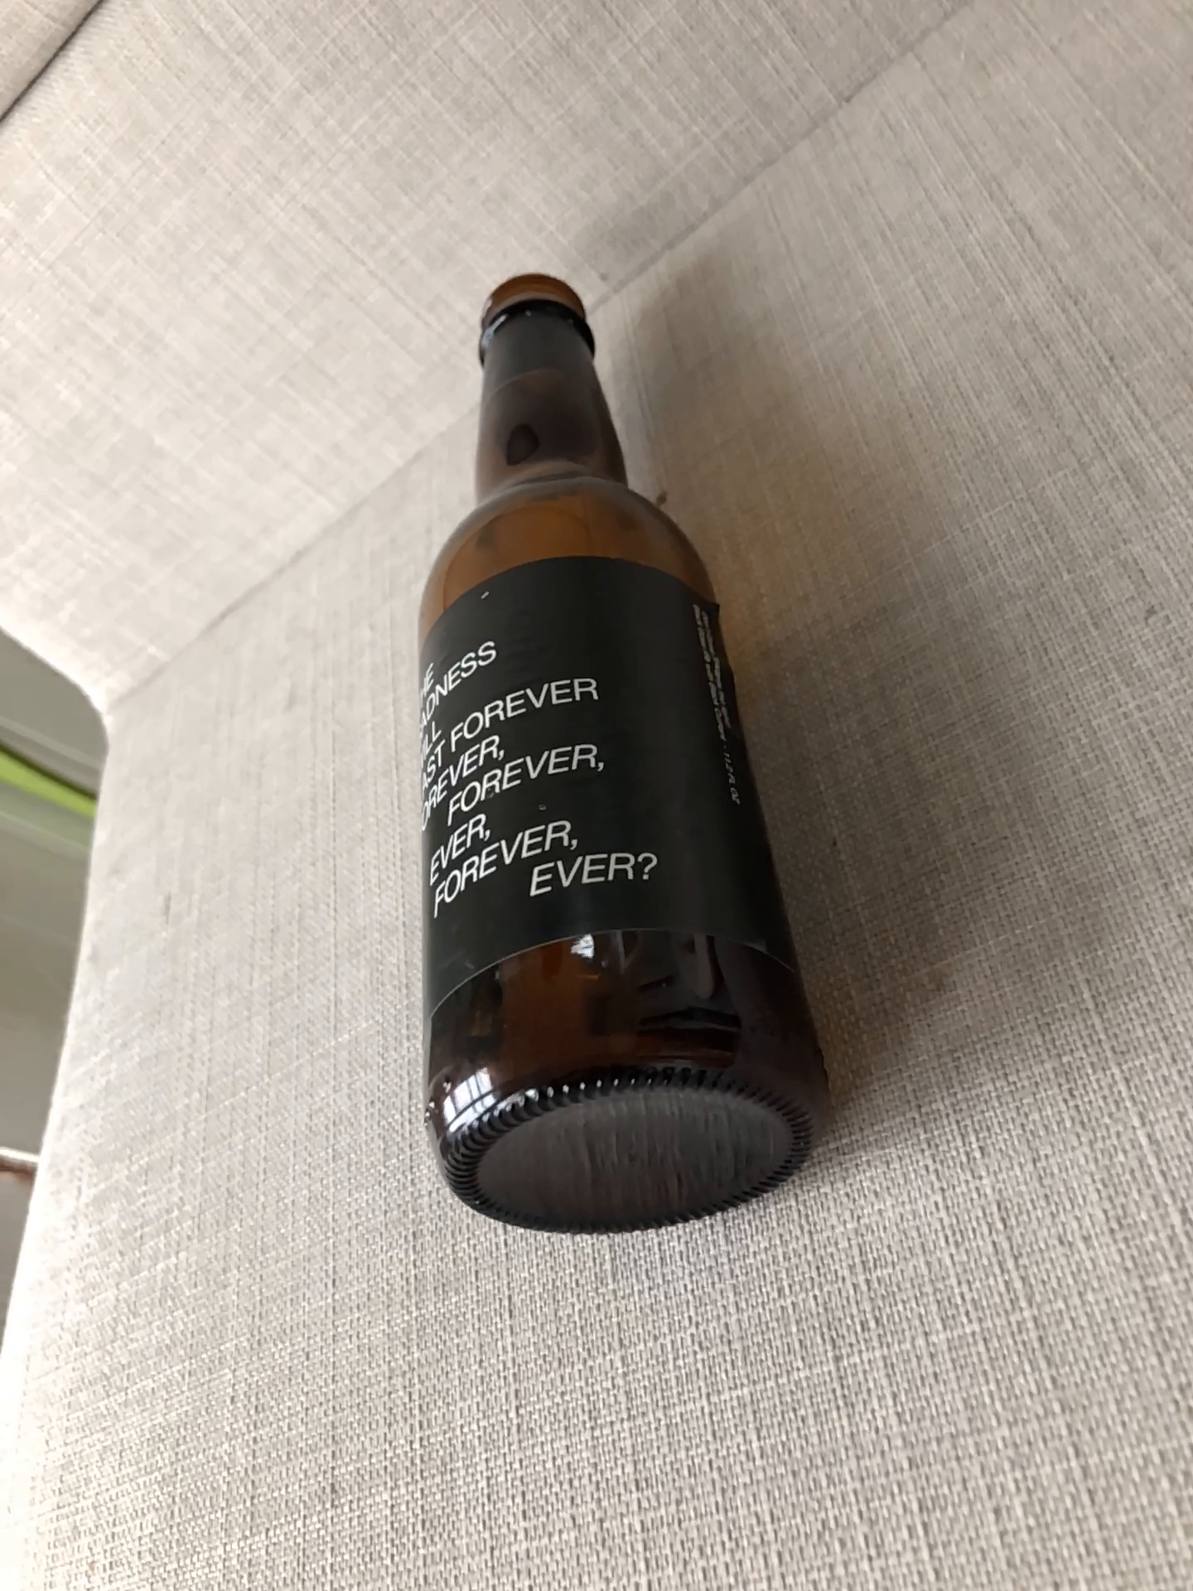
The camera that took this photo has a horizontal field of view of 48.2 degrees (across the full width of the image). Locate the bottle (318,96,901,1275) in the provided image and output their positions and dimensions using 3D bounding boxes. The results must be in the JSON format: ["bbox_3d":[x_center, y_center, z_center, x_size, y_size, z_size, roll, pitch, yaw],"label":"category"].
[{"bbox_3d":[-0.010,-0.040,0.264,0.060,0.060,0.240,-30,47,26],"label":"bottle"}]
